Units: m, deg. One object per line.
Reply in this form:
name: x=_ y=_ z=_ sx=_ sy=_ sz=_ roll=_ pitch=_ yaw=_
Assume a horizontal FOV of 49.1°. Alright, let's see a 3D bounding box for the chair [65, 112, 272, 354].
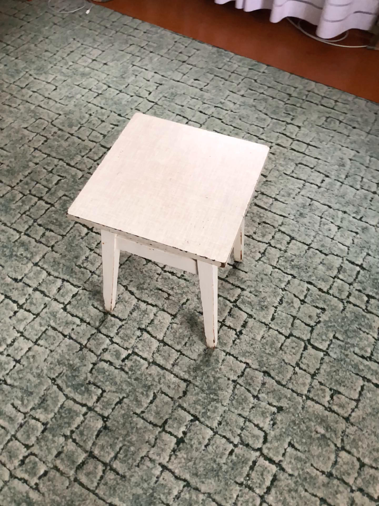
chair: x=-0.034 y=-0.031 z=1.054 sx=0.332 sy=0.447 sz=0.336 roll=18 pitch=58 yaw=10
